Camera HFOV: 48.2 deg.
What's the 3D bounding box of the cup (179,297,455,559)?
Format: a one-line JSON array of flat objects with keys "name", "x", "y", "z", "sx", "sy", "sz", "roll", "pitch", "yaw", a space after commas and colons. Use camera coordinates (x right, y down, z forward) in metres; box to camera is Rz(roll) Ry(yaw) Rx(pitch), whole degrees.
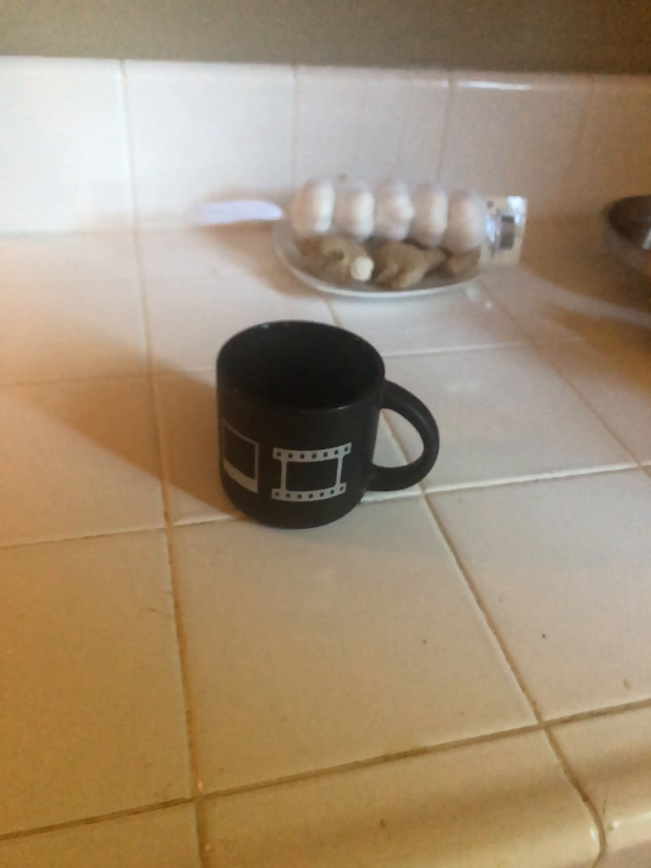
[{"name": "cup", "x": -0.002, "y": -0.006, "z": 0.408, "sx": 0.130, "sy": 0.089, "sz": 0.091, "roll": 10, "pitch": 39, "yaw": 5}]
